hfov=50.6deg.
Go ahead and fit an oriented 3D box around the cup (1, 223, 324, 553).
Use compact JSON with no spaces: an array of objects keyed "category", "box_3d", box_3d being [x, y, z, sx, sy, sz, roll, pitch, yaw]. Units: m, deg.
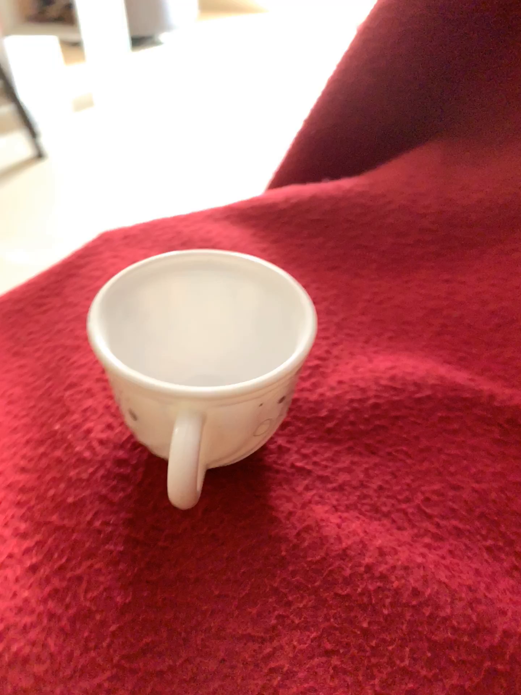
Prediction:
[{"category":"cup","box_3d":[-0.020,0.007,0.189,0.080,0.050,0.101,3,44,4]}]
